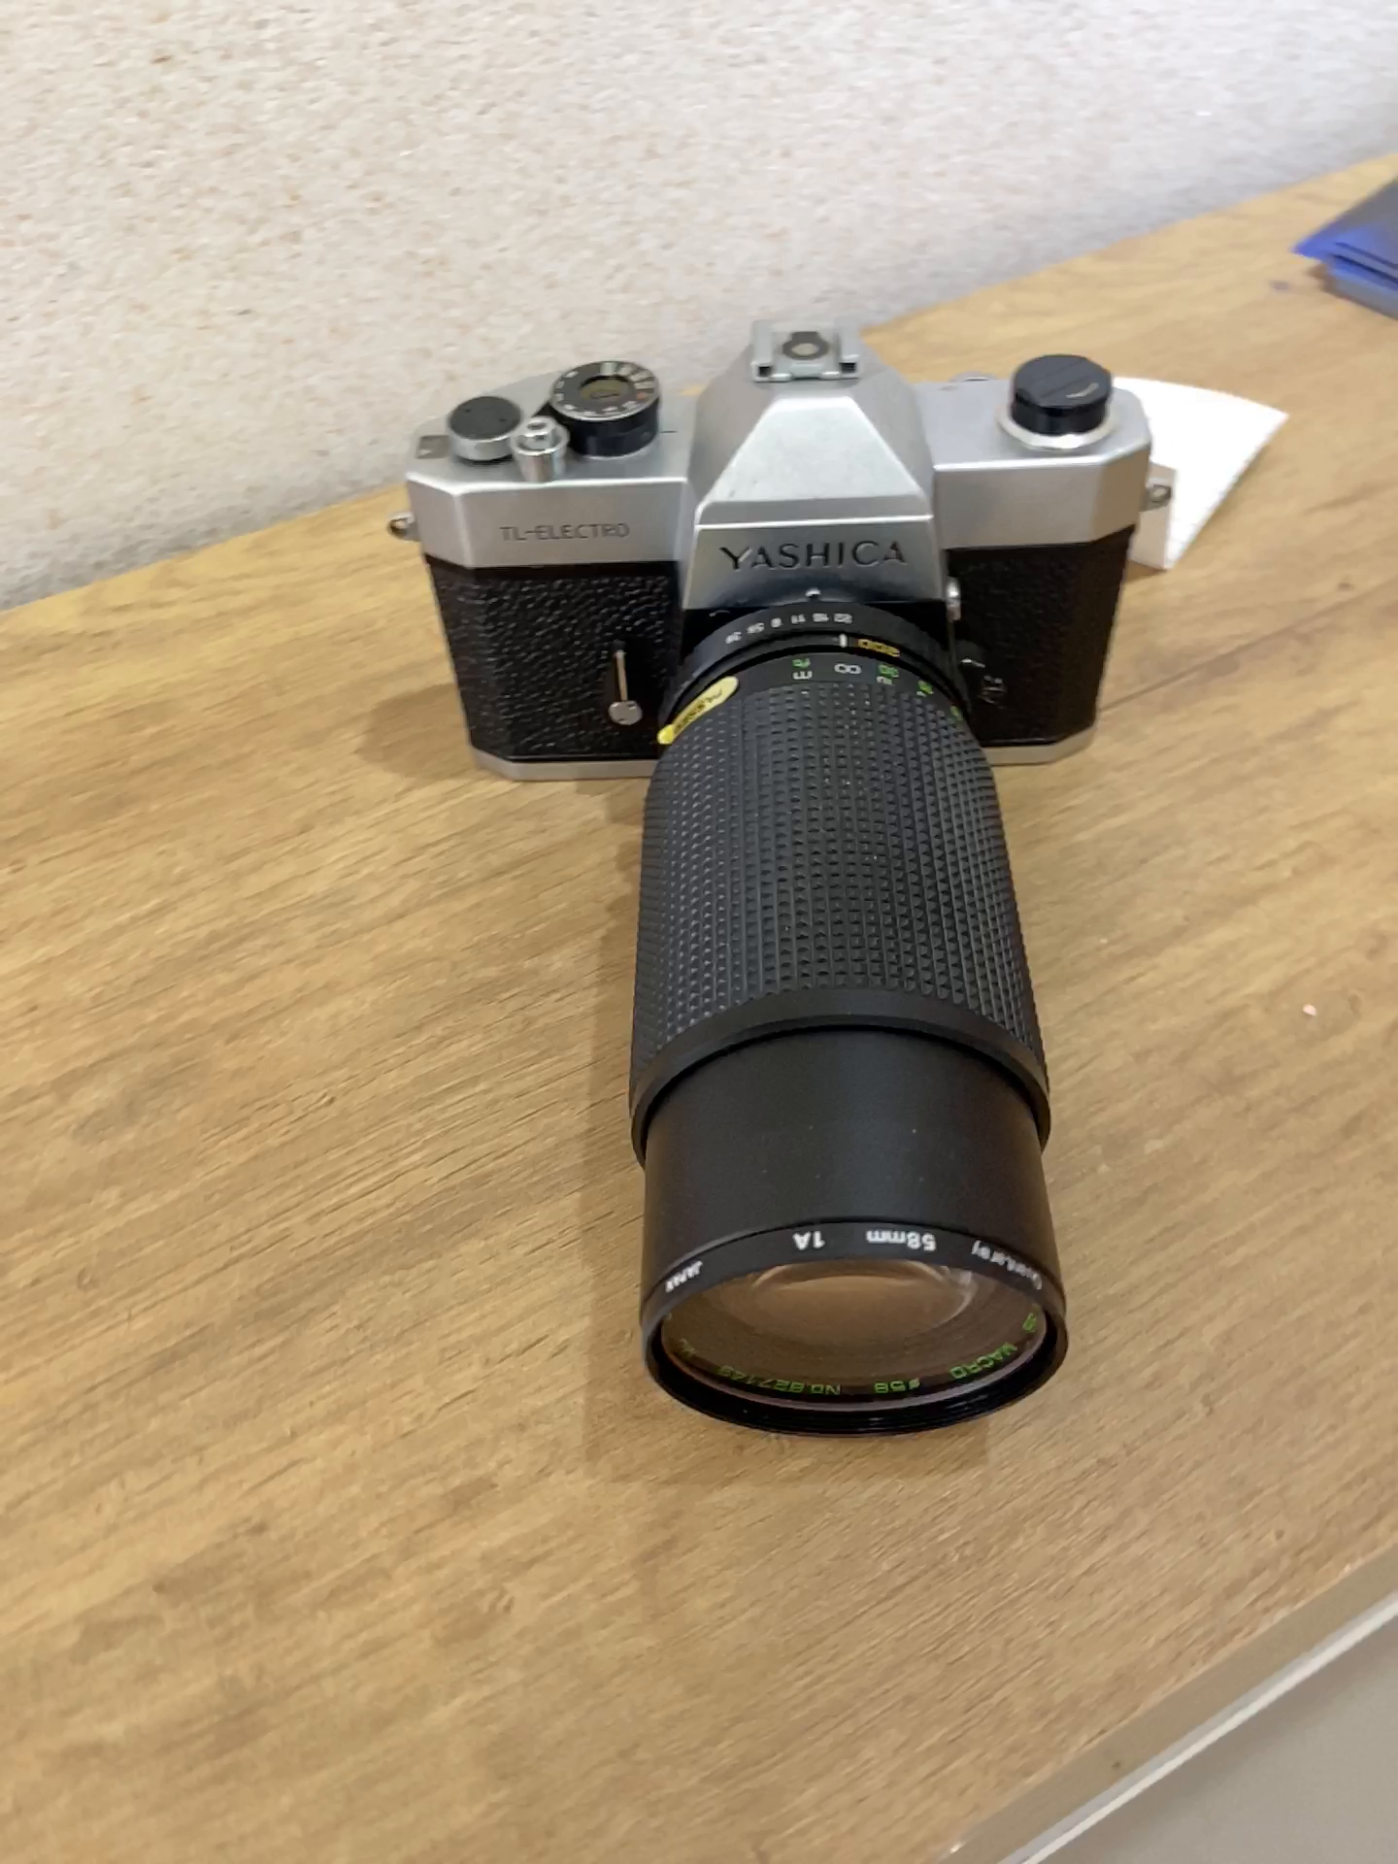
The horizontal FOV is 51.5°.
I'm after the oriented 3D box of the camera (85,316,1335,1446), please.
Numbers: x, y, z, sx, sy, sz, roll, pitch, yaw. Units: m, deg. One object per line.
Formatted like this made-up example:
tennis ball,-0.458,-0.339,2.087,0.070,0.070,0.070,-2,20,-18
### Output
camera,0.010,-0.024,0.268,0.150,0.080,0.201,1,50,7
